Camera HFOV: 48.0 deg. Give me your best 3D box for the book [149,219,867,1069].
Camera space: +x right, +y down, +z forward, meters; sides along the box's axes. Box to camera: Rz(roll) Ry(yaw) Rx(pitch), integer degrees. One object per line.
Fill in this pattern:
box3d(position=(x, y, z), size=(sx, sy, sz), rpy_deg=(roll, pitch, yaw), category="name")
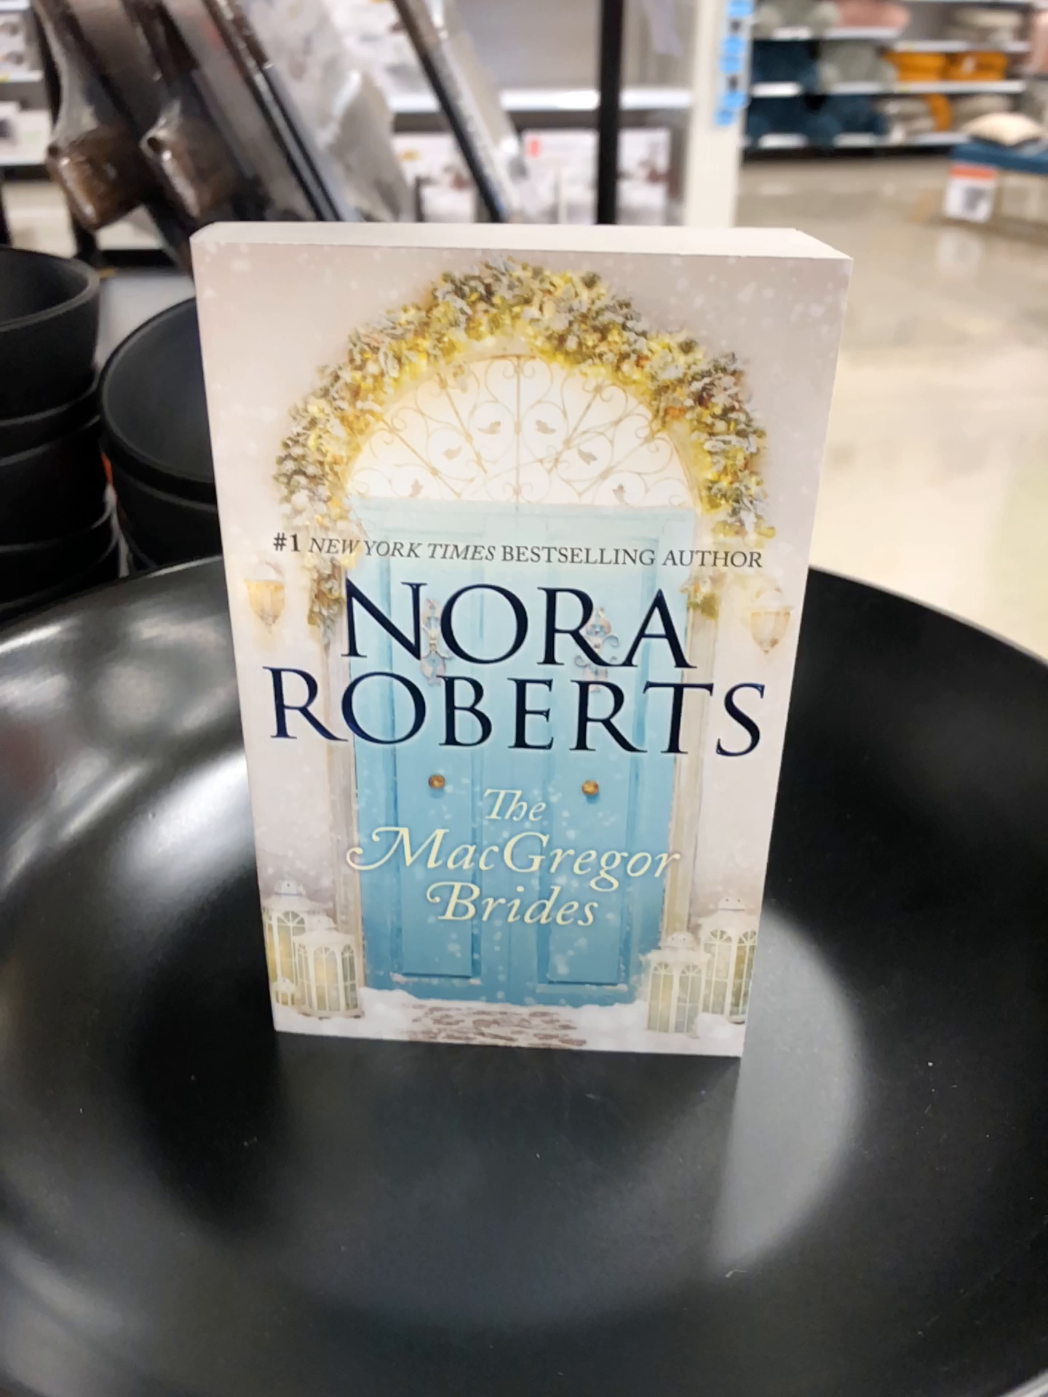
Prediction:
box3d(position=(-0.002, -0.004, 0.238), size=(0.110, 0.168, 0.040), rpy_deg=(2, 28, 3), category="book")
